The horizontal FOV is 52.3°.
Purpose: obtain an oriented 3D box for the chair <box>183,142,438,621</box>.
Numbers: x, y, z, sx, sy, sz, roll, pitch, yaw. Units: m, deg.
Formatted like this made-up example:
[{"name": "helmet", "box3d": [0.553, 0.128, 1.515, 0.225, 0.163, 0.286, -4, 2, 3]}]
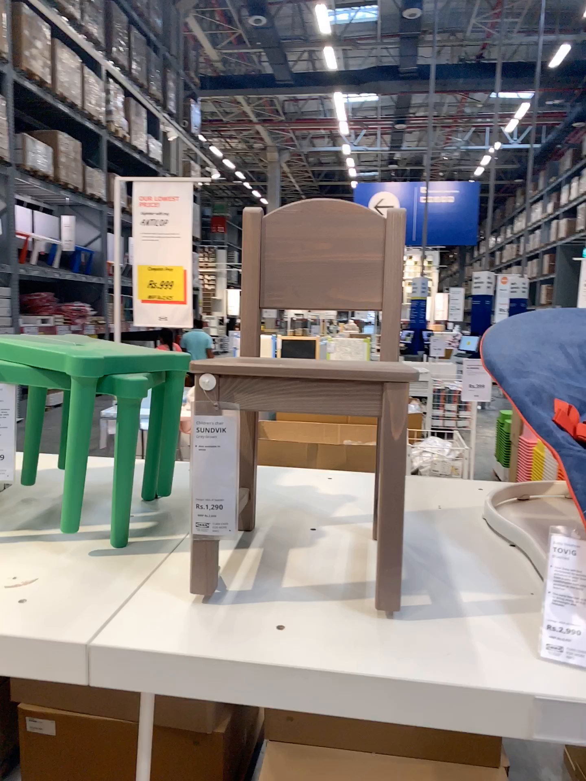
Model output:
[{"name": "chair", "box3d": [0.029, -0.023, 0.817, 0.270, 0.519, 0.320, 2, 7, 7]}]
